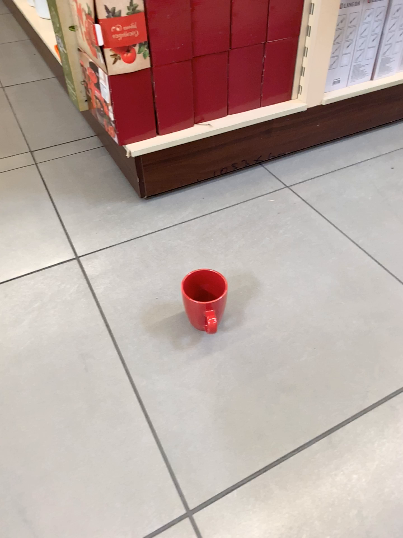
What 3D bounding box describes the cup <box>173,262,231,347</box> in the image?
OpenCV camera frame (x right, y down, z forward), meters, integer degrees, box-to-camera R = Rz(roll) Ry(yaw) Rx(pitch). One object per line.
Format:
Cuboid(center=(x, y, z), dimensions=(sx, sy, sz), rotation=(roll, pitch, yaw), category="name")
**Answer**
Cuboid(center=(-0.001, 0.065, 0.765), dimensions=(0.090, 0.090, 0.121), rotation=(-5, 45, -4), category="cup")
